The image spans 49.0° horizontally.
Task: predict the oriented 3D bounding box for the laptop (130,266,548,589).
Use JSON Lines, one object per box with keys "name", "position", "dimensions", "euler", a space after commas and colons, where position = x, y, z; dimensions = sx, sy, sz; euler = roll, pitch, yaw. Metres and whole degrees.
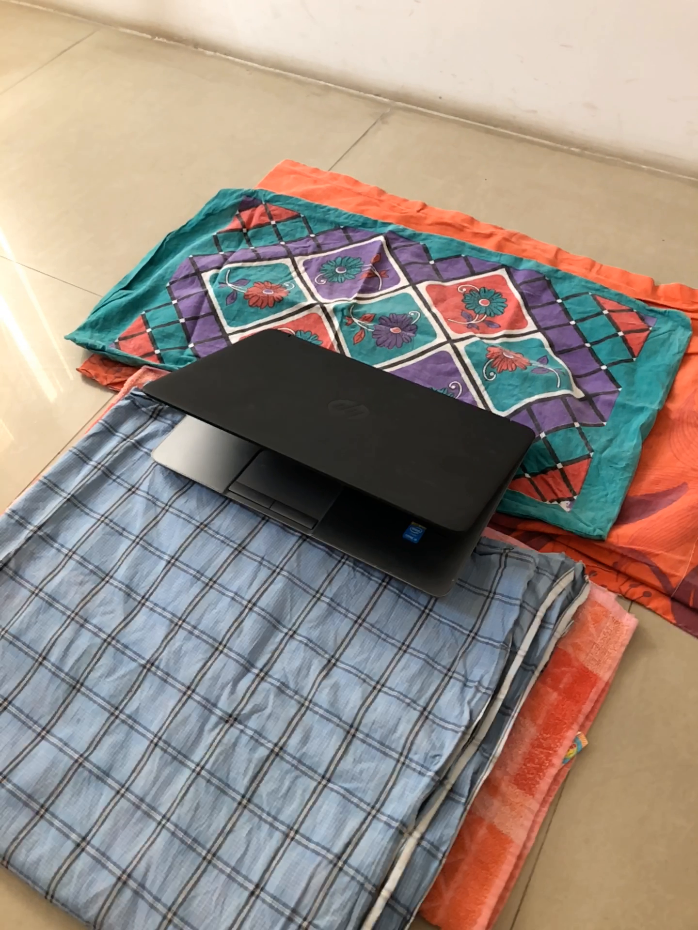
{"name": "laptop", "position": [-0.002, -0.051, 0.748], "dimensions": [0.321, 0.099, 0.213], "euler": [24, 53, 16]}
